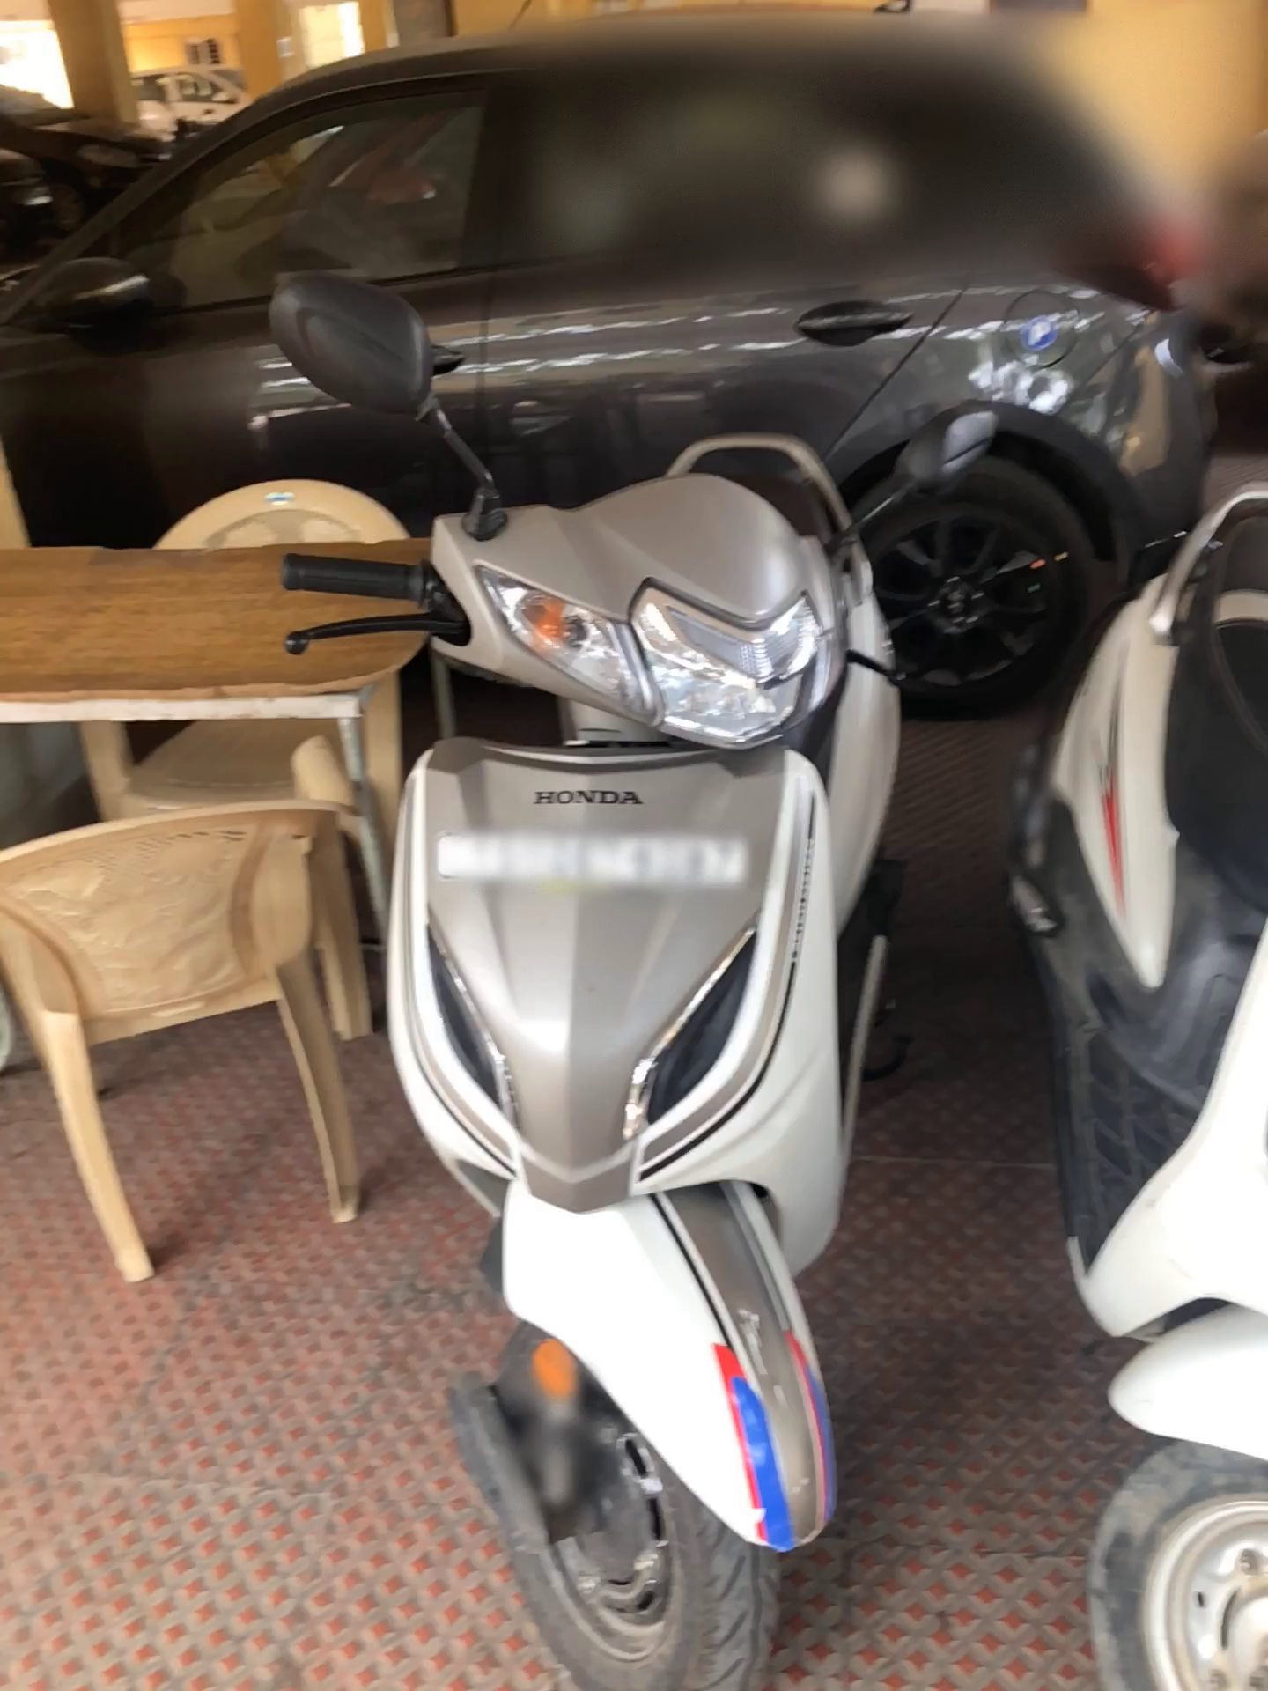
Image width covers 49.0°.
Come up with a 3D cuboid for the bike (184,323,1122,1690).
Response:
[{"bbox_3d":[0.073,0.075,1.701,0.626,0.850,1.463,-1,37,6],"label":"bike"}]
